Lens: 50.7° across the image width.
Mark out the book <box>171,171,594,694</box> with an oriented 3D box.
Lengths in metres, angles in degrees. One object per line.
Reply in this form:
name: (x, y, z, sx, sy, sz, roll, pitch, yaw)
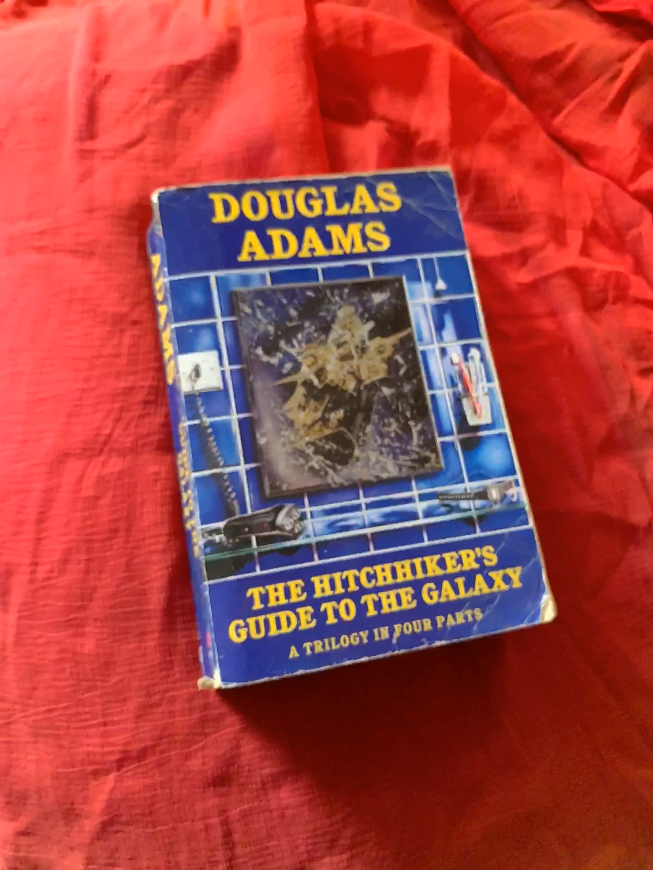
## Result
book: (0.015, -0.008, 0.279, 0.130, 0.045, 0.187, -7, 77, -11)
